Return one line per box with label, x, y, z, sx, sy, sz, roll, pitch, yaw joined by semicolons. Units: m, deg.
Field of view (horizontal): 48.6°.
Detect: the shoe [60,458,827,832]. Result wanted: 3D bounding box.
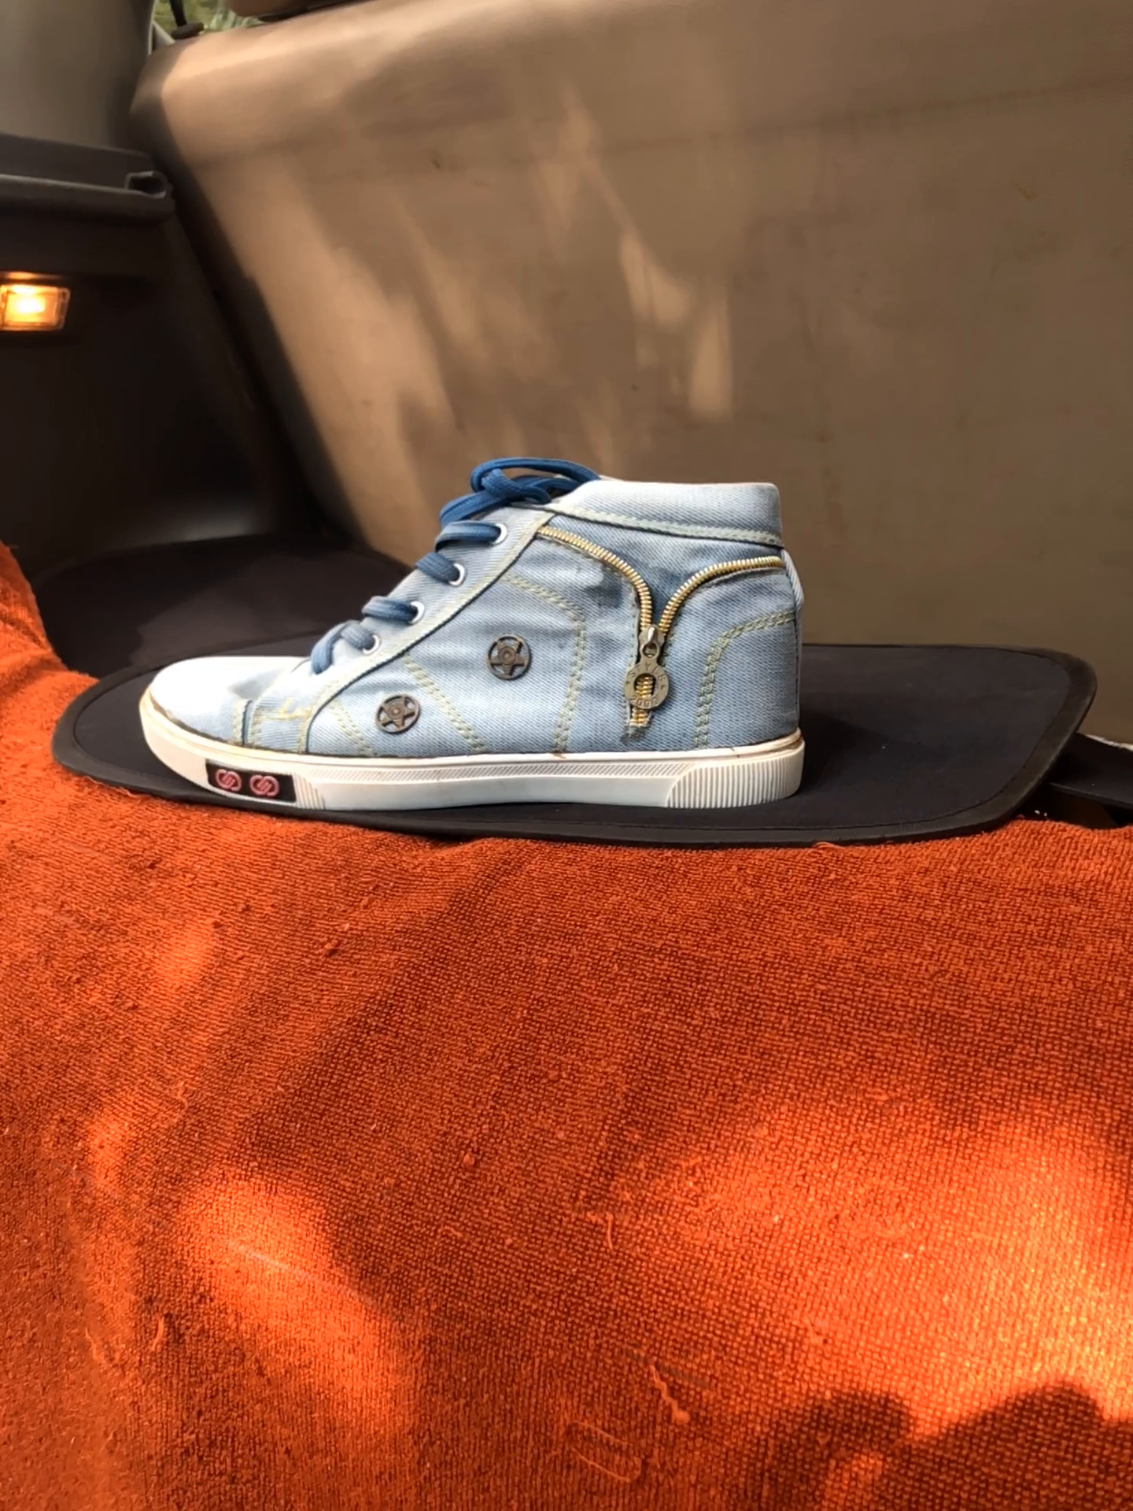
shoe;-0.037;-0.050;0.479;0.260;0.110;0.111;2;19;14
